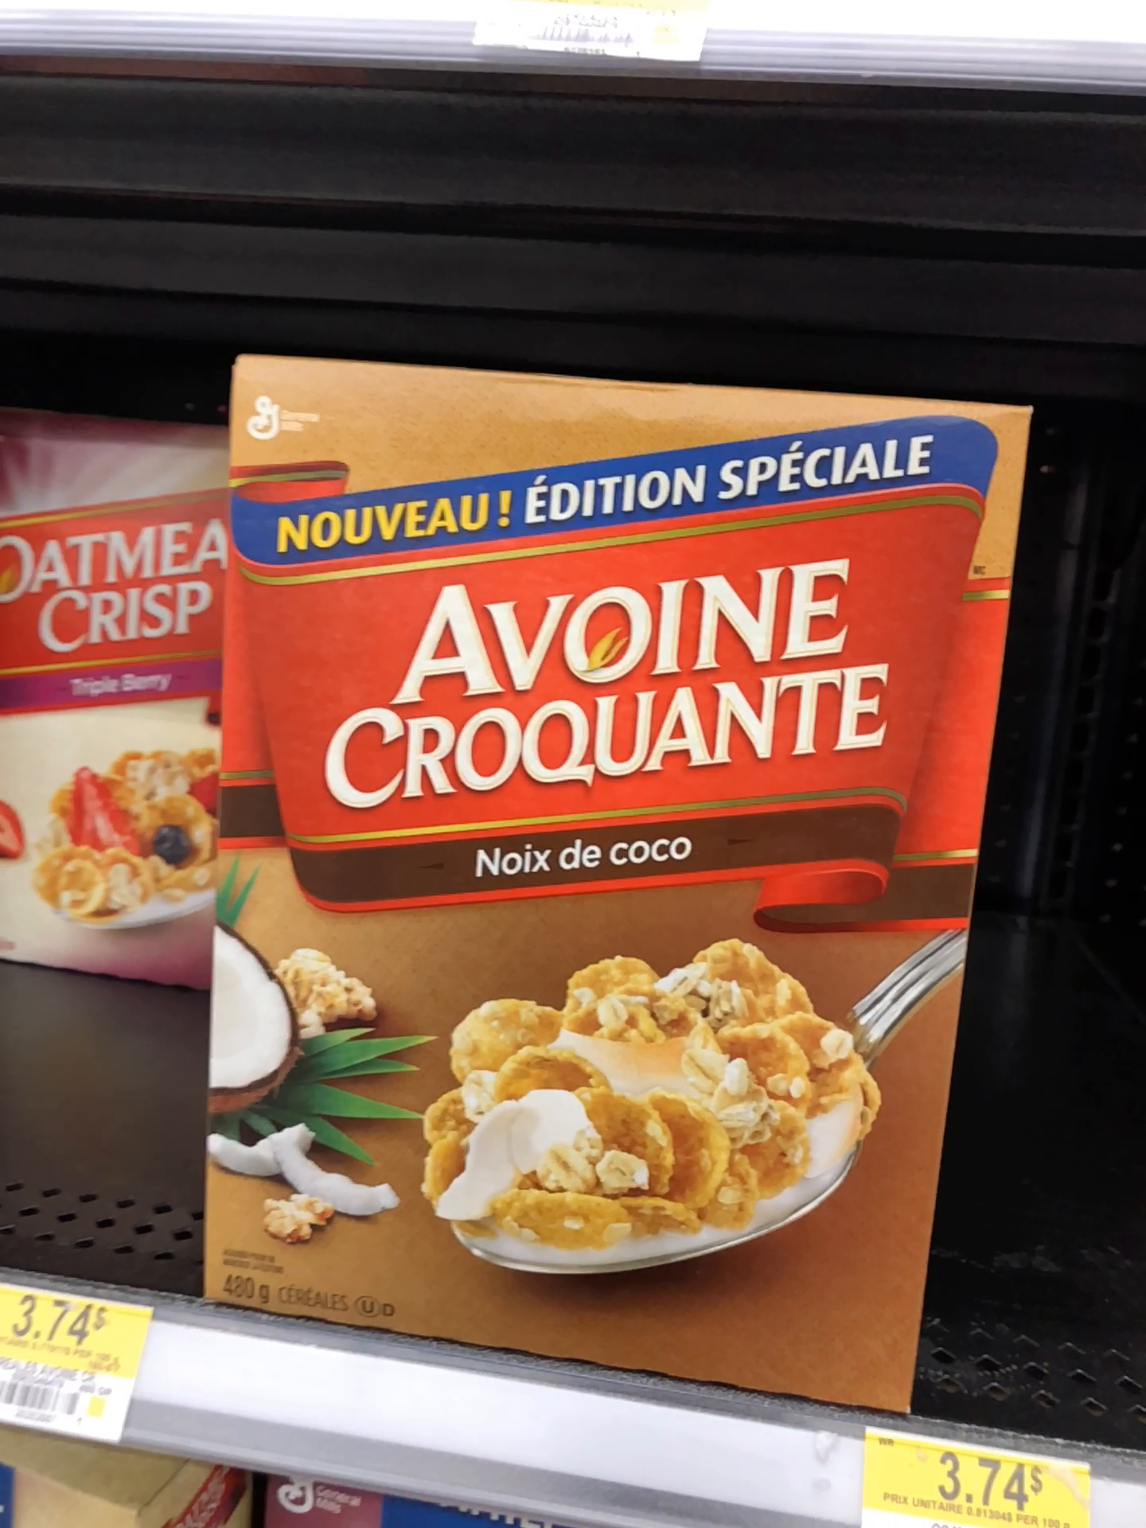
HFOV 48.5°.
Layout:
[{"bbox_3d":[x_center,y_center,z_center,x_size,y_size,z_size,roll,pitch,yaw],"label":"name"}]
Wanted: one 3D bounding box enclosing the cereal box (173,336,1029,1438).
[{"bbox_3d":[0.000,0.031,0.352,0.200,0.269,0.050,6,9,7],"label":"cereal box"}]
